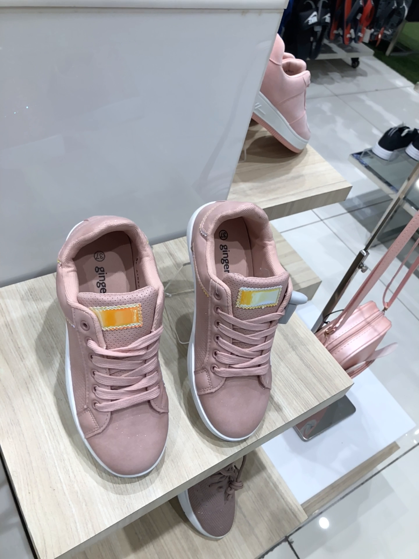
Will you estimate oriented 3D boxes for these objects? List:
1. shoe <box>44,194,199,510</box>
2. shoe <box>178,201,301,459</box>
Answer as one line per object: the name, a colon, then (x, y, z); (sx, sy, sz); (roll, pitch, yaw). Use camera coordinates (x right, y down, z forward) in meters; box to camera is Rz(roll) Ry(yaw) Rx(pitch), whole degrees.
shoe: (-0.090, 0.059, 0.450); (0.100, 0.100, 0.260); (-8, 92, -20)
shoe: (0.026, 0.044, 0.502); (0.100, 0.250, 0.100); (-1, 7, -17)
